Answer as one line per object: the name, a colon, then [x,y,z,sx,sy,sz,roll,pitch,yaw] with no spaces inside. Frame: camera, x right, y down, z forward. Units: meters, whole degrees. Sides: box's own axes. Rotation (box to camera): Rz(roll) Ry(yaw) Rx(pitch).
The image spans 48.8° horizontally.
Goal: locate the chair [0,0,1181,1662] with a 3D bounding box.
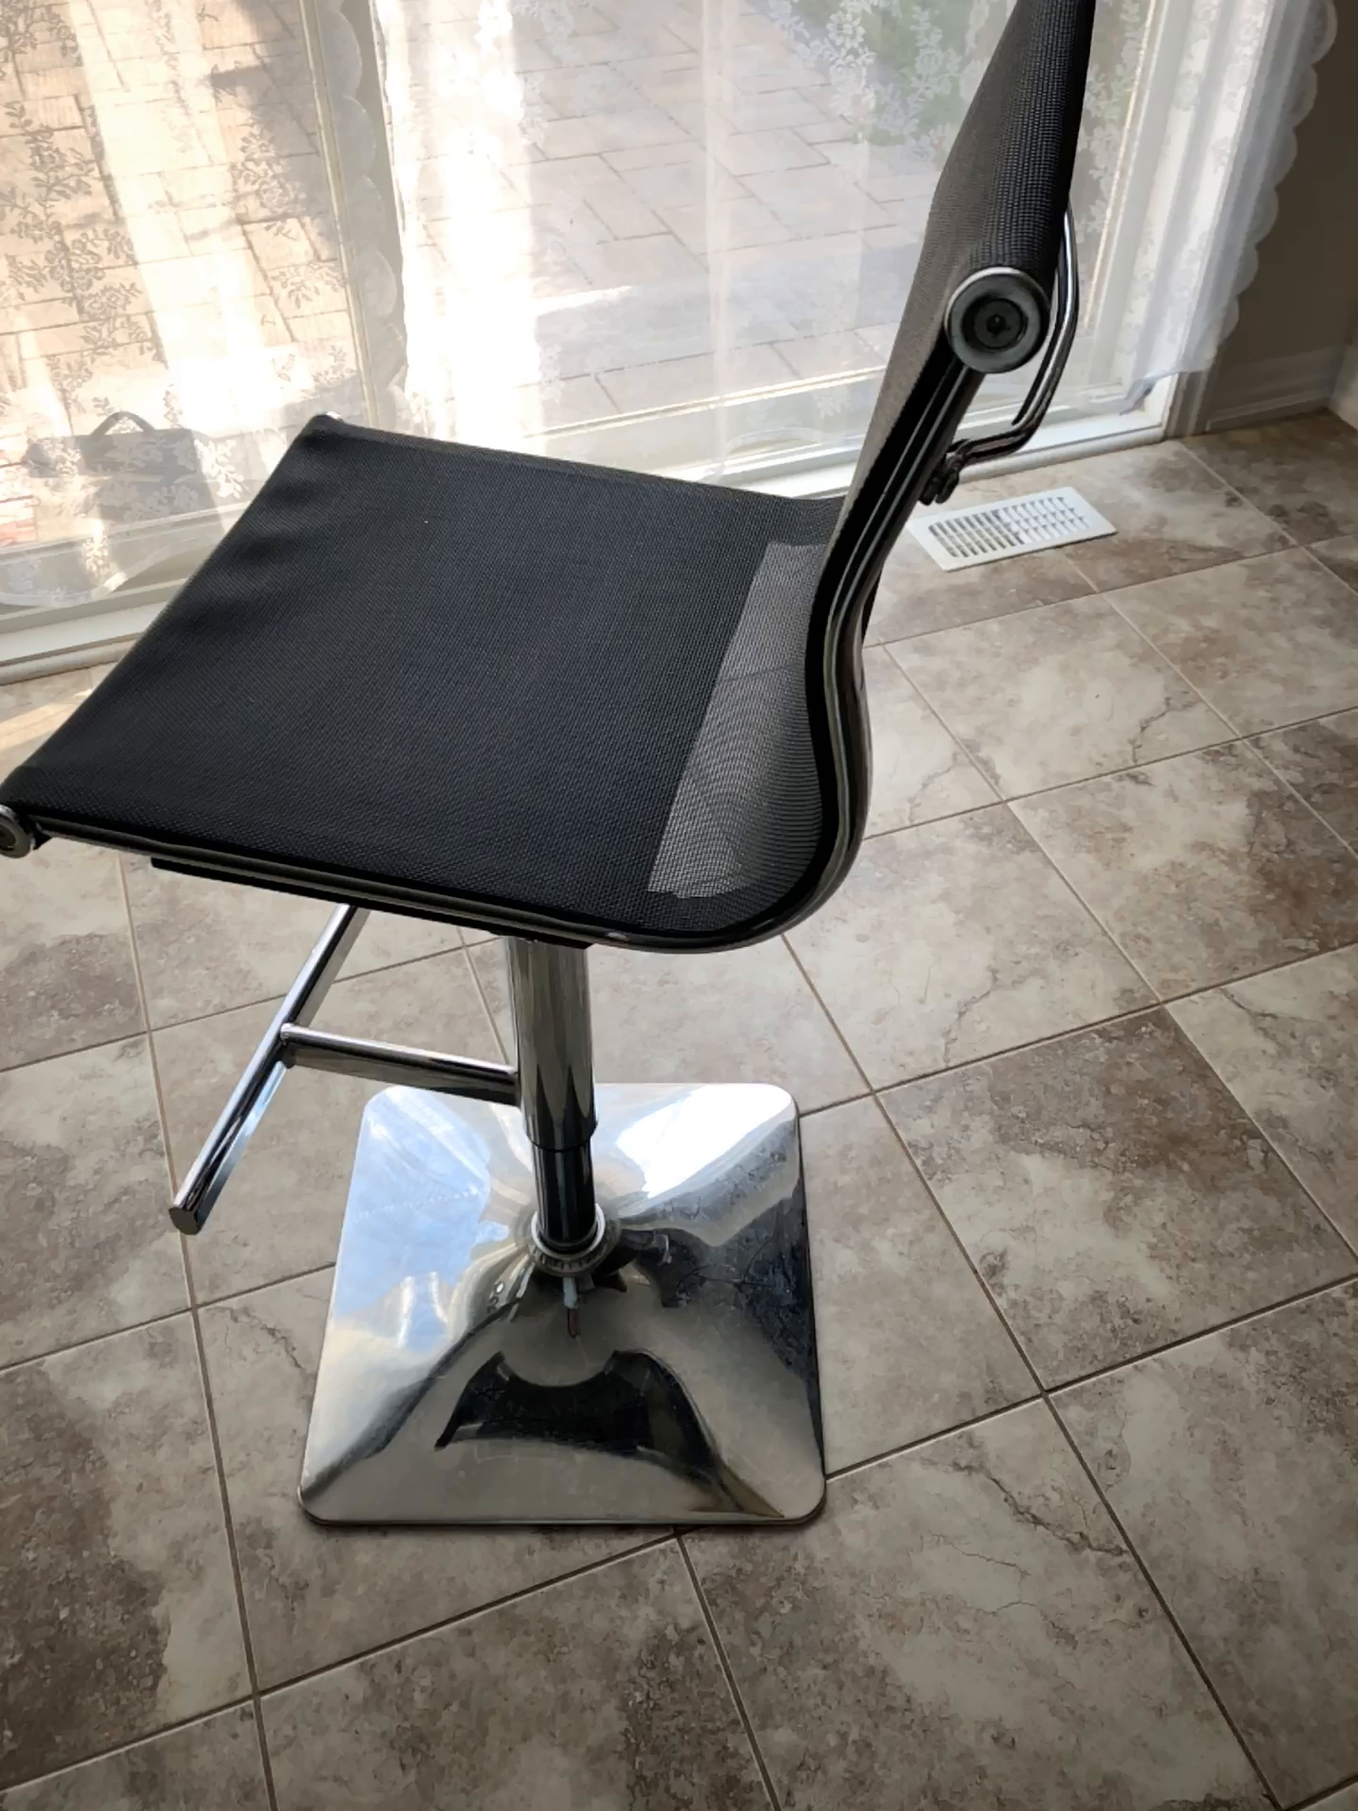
chair: [-0.095,-0.037,0.950,0.550,0.977,0.542,11,47,10]
